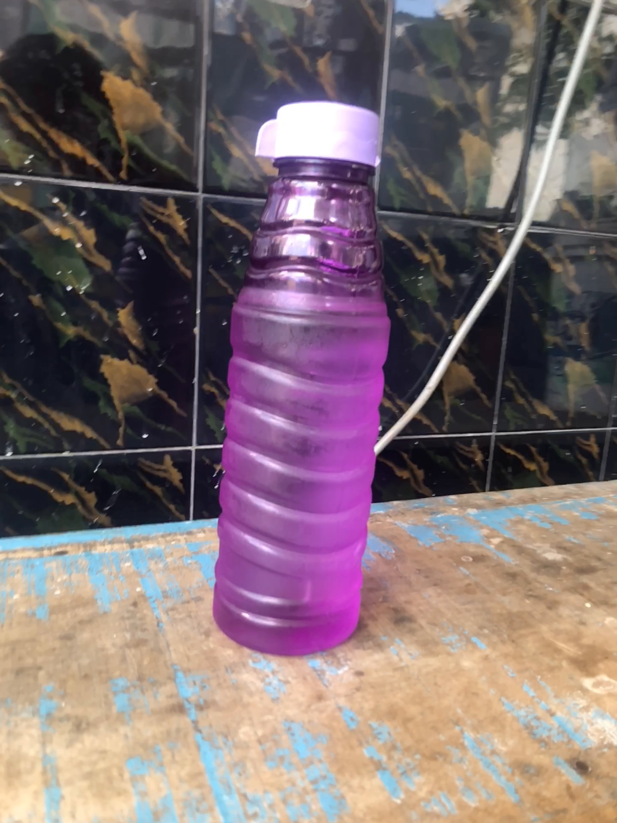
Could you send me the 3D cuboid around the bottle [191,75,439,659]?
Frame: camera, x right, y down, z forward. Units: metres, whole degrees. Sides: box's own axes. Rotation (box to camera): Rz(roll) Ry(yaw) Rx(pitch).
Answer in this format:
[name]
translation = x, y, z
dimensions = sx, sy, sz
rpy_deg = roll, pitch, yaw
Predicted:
[bottle]
translation = -0.007, -0.016, 0.324
dimensions = 0.090, 0.239, 0.080
rpy_deg = 1, 12, -12
